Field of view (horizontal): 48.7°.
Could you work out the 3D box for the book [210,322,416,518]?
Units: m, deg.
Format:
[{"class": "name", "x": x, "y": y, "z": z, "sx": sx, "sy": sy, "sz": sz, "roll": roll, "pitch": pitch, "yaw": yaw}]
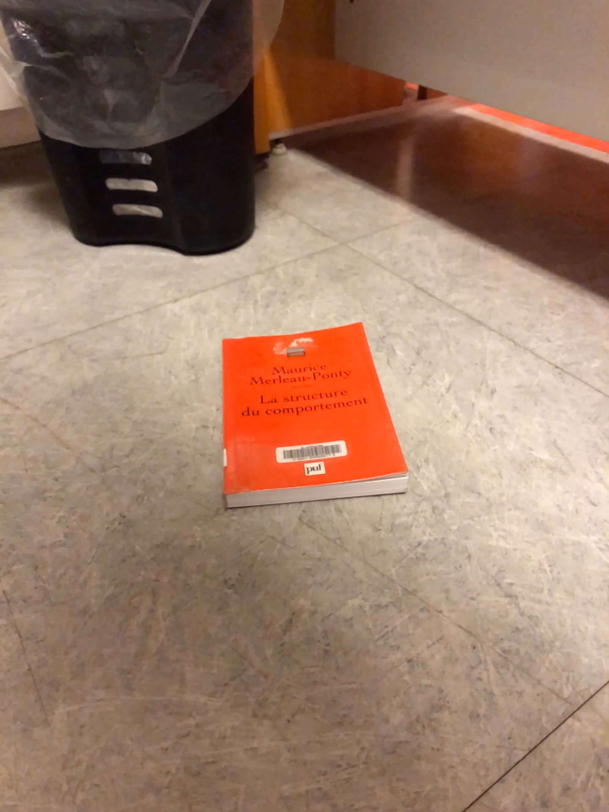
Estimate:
[{"class": "book", "x": -0.003, "y": 0.000, "z": 0.523, "sx": 0.135, "sy": 0.020, "sz": 0.201, "roll": -4, "pitch": 38, "yaw": -4}]
